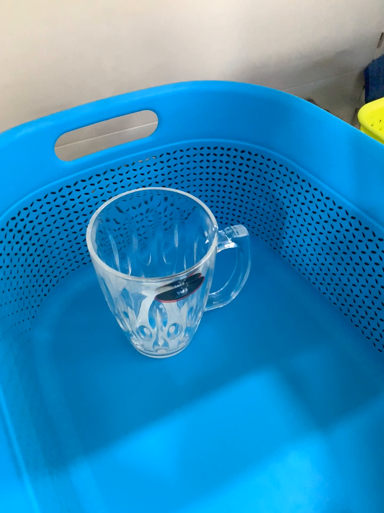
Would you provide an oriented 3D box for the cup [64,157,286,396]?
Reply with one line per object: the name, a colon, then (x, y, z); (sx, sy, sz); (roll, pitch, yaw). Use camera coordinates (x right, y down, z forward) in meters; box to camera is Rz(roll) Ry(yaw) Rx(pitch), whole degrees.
cup: (-0.011, 0.015, 0.283); (0.110, 0.117, 0.078); (-25, 54, -21)
